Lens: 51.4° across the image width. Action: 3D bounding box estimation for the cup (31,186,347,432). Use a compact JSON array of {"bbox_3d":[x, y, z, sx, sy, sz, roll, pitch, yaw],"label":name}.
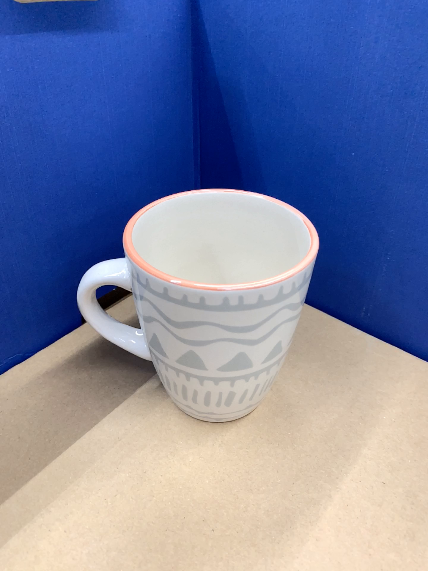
[{"bbox_3d":[-0.011,0.007,0.230,0.118,0.082,0.097,-1,35,-3],"label":"cup"}]
